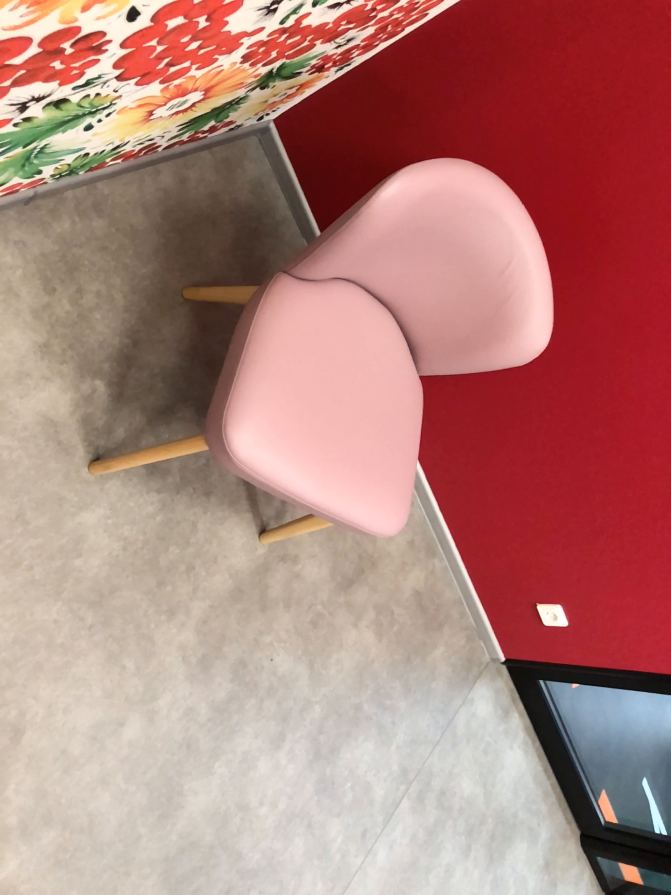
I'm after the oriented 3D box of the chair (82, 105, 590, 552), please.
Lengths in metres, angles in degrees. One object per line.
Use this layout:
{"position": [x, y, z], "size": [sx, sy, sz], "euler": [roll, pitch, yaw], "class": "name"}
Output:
{"position": [-0.001, -0.135, 1.459], "size": [0.512, 0.785, 0.541], "euler": [30, 62, -40], "class": "chair"}
